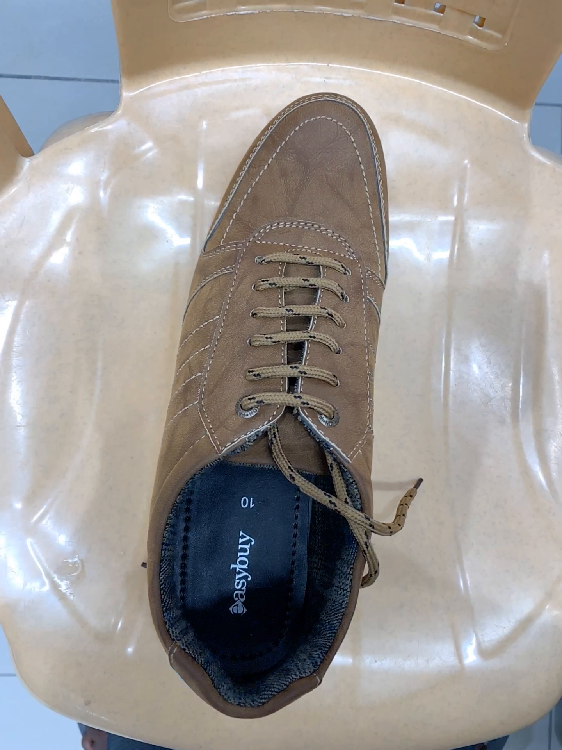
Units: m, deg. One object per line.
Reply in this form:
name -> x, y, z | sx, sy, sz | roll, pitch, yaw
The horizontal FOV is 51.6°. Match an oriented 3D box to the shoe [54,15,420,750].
shoe -> -0.008, -0.002, 0.287 | 0.100, 0.100, 0.310 | 9, 76, 0
